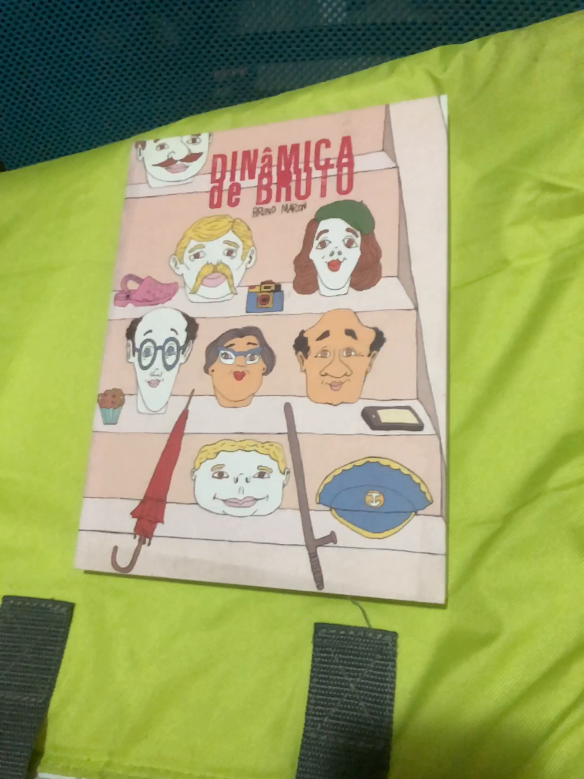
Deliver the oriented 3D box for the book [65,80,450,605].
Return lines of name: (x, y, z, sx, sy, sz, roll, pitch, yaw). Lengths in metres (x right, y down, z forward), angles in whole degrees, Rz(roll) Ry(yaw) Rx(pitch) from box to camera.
book: (-0.015, -0.028, 0.320, 0.178, 0.020, 0.240, -1, 75, 20)
